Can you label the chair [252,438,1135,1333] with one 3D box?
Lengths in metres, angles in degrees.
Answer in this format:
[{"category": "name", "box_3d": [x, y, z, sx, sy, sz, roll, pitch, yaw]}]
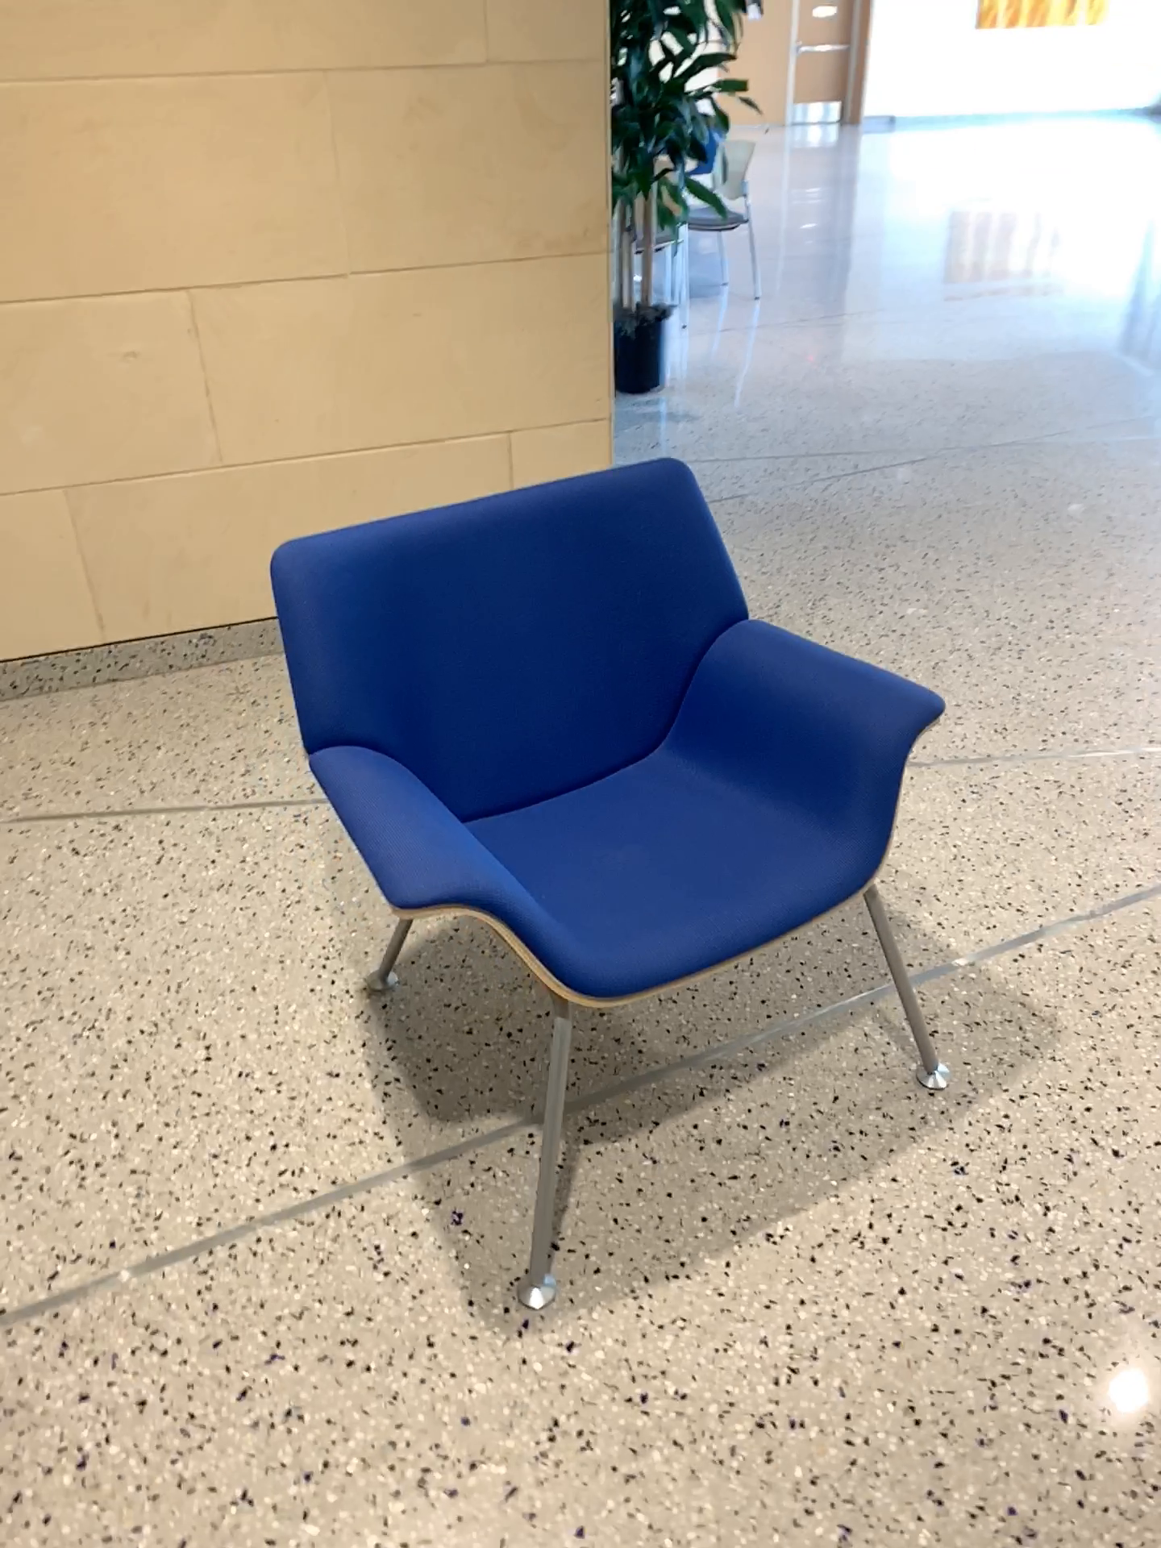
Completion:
[{"category": "chair", "box_3d": [0.102, 0.058, 1.633, 0.780, 0.728, 0.762, -18, 35, -24]}]
